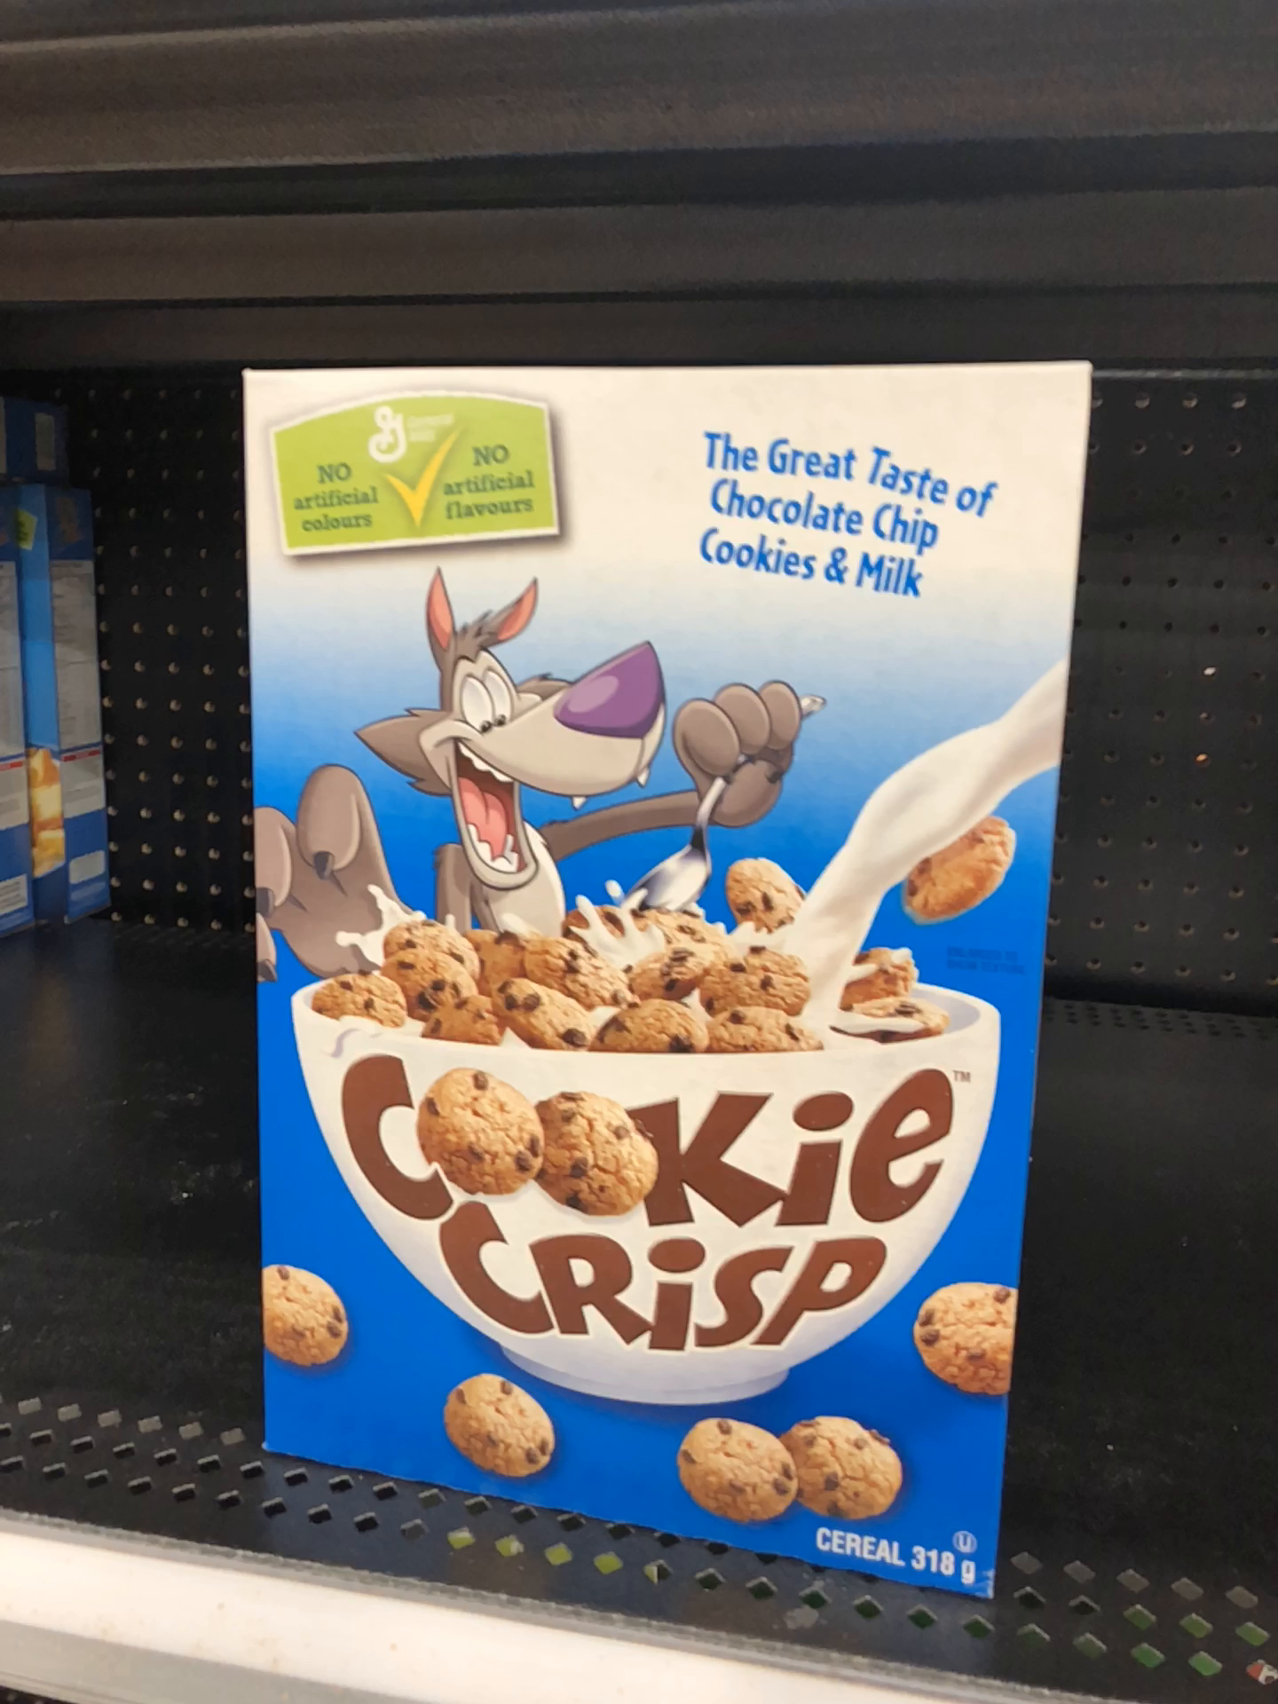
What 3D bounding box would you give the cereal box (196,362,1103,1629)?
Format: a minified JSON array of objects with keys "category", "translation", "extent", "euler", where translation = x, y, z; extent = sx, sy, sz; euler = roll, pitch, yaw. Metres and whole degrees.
[{"category":"cereal box","translation":[-0.001,0.029,0.353],"extent":[0.200,0.279,0.060],"euler":[4,11,15]}]
